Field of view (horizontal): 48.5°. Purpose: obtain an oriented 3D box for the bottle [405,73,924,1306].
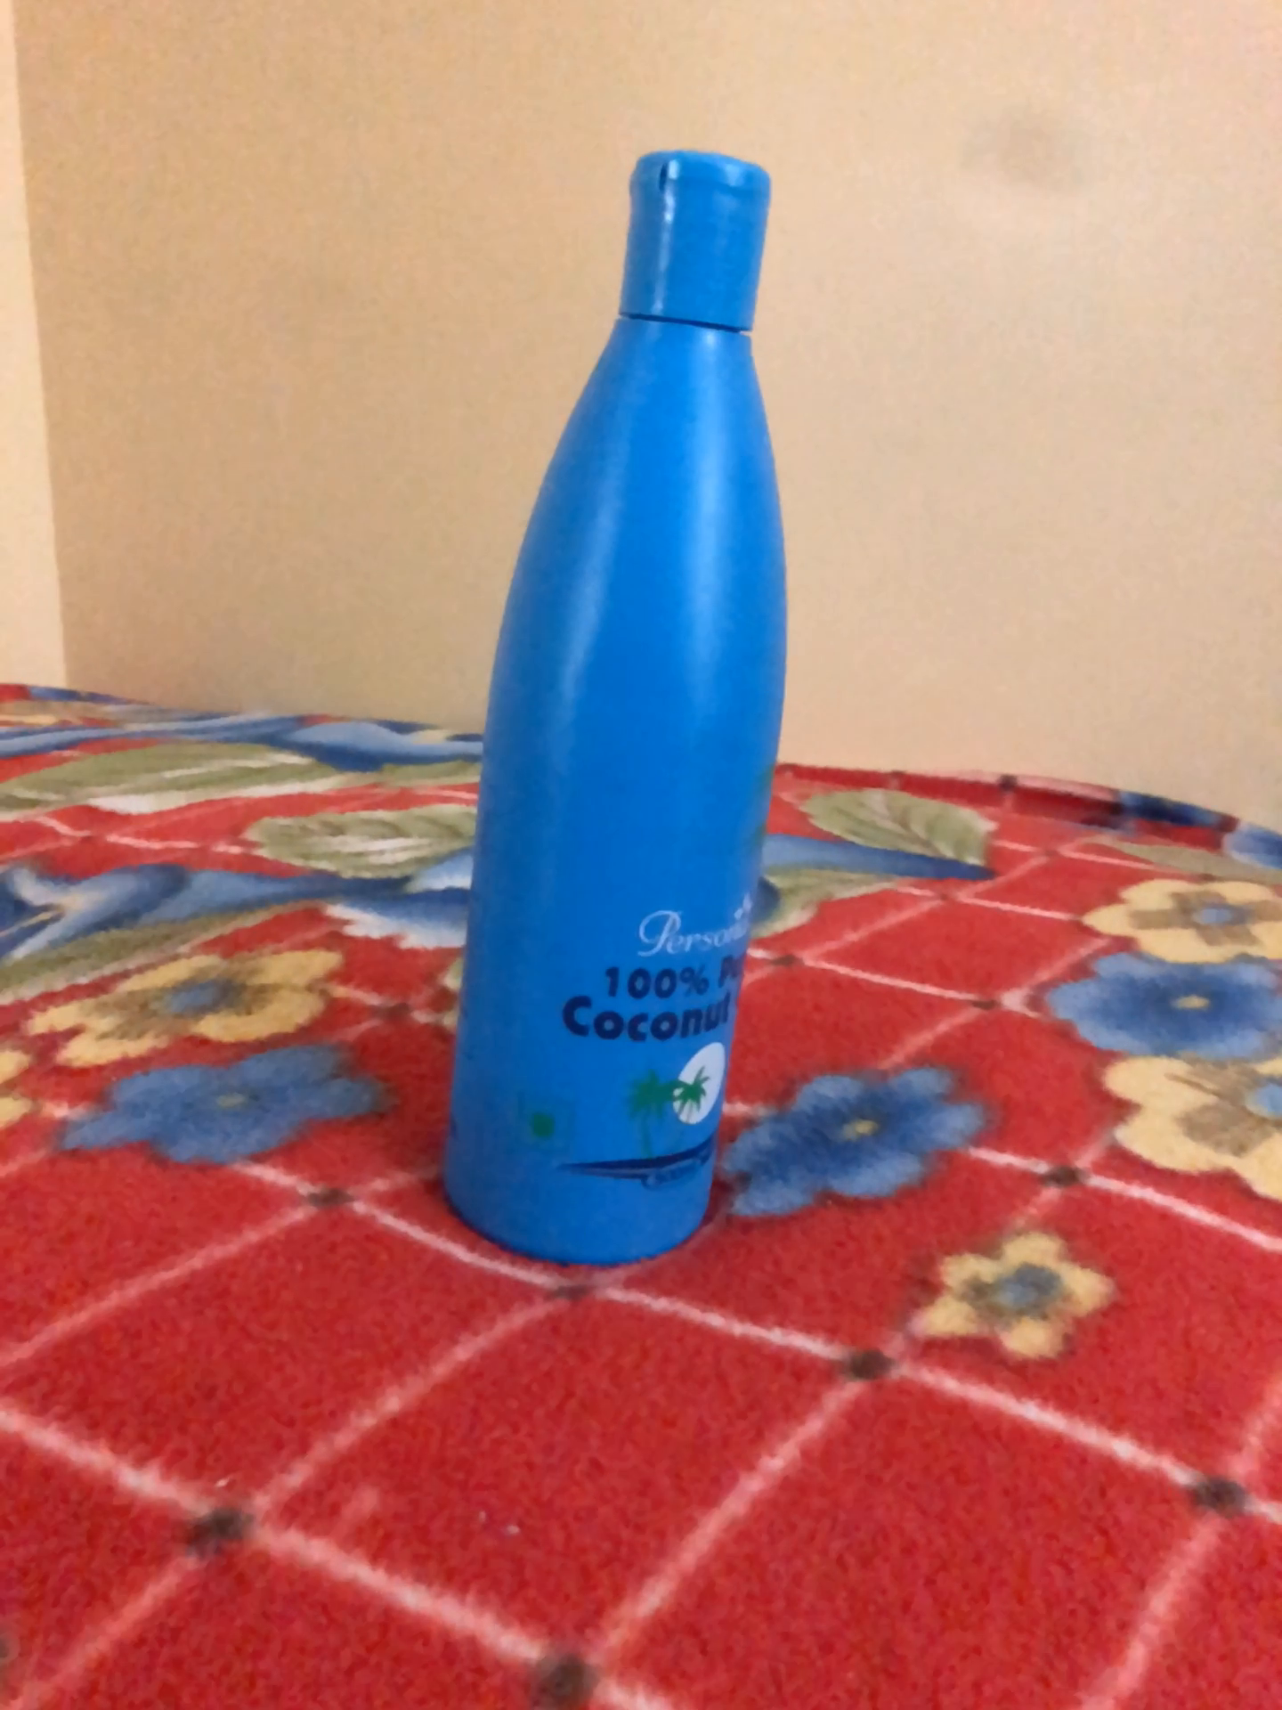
[{"bbox_3d":[0.000,-0.031,0.311,0.070,0.230,0.070,3,15,-1],"label":"bottle"}]
